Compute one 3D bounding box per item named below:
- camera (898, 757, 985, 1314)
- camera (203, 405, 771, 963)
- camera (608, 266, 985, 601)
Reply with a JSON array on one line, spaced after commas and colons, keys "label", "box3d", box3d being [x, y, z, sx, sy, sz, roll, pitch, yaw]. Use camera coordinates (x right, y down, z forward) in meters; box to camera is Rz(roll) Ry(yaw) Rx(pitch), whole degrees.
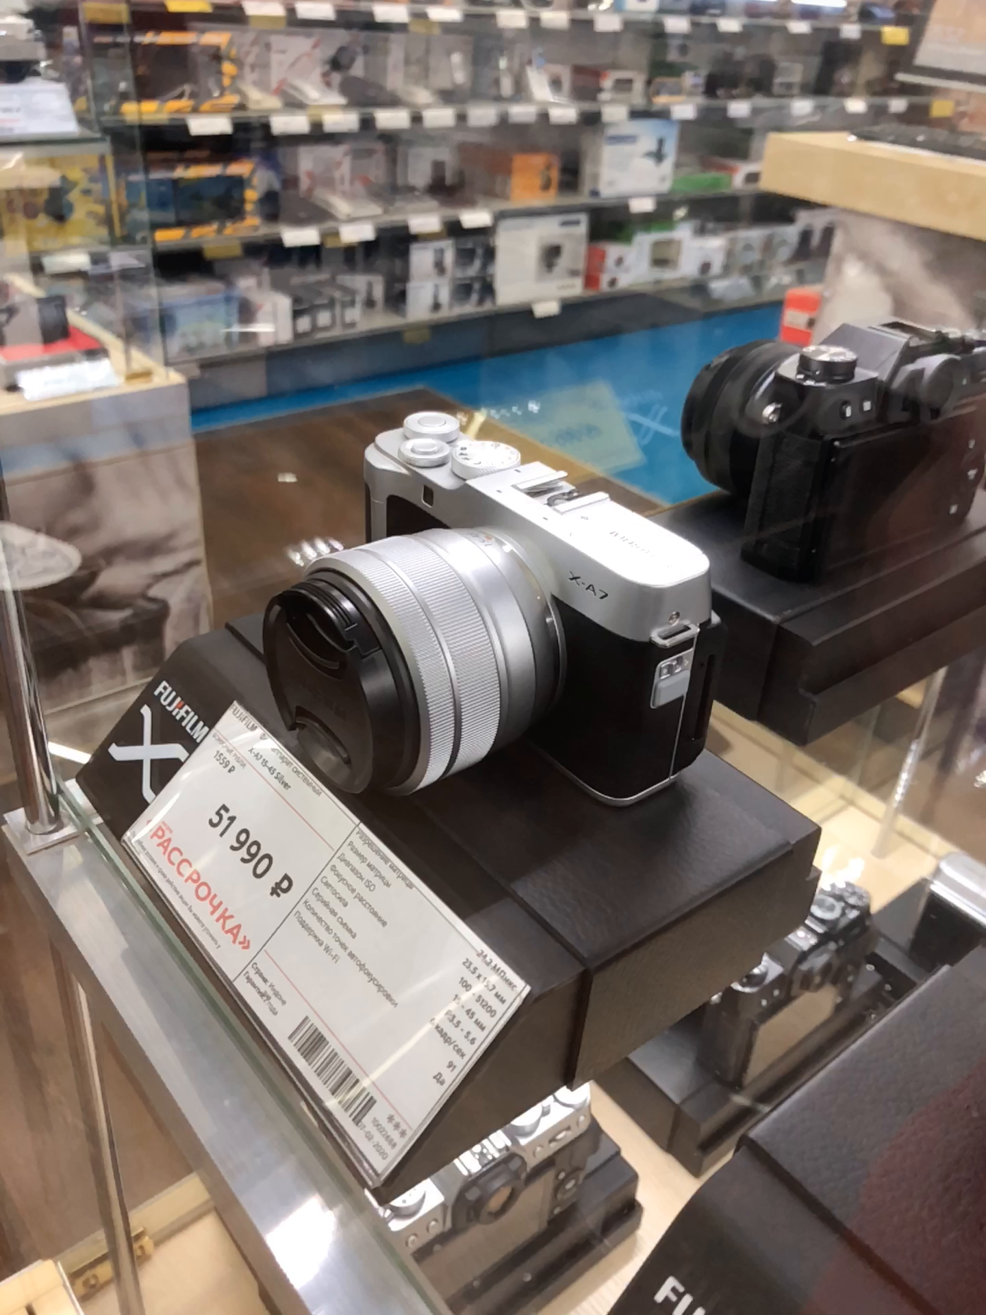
[{"label": "camera", "box3d": [0.143, 0.091, 0.150, 0.096, 0.080, 0.115, -20, 39, -34]}, {"label": "camera", "box3d": [-0.009, -0.004, 0.296, 0.084, 0.080, 0.126, -19, 39, -32]}, {"label": "camera", "box3d": [0.123, -0.092, 0.417, 0.115, 0.080, 0.097, -21, 40, -35]}]
